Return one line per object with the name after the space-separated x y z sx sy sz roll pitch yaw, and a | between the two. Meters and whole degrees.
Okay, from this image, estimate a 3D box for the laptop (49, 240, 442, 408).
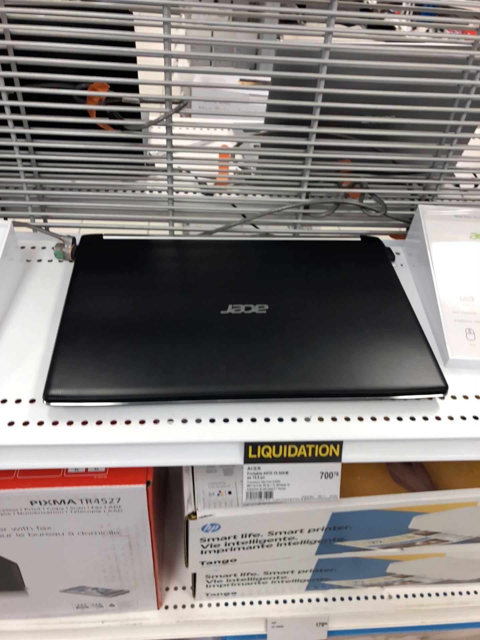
0.006 -0.010 0.566 0.361 0.012 0.228 0 46 -7 | laptop
